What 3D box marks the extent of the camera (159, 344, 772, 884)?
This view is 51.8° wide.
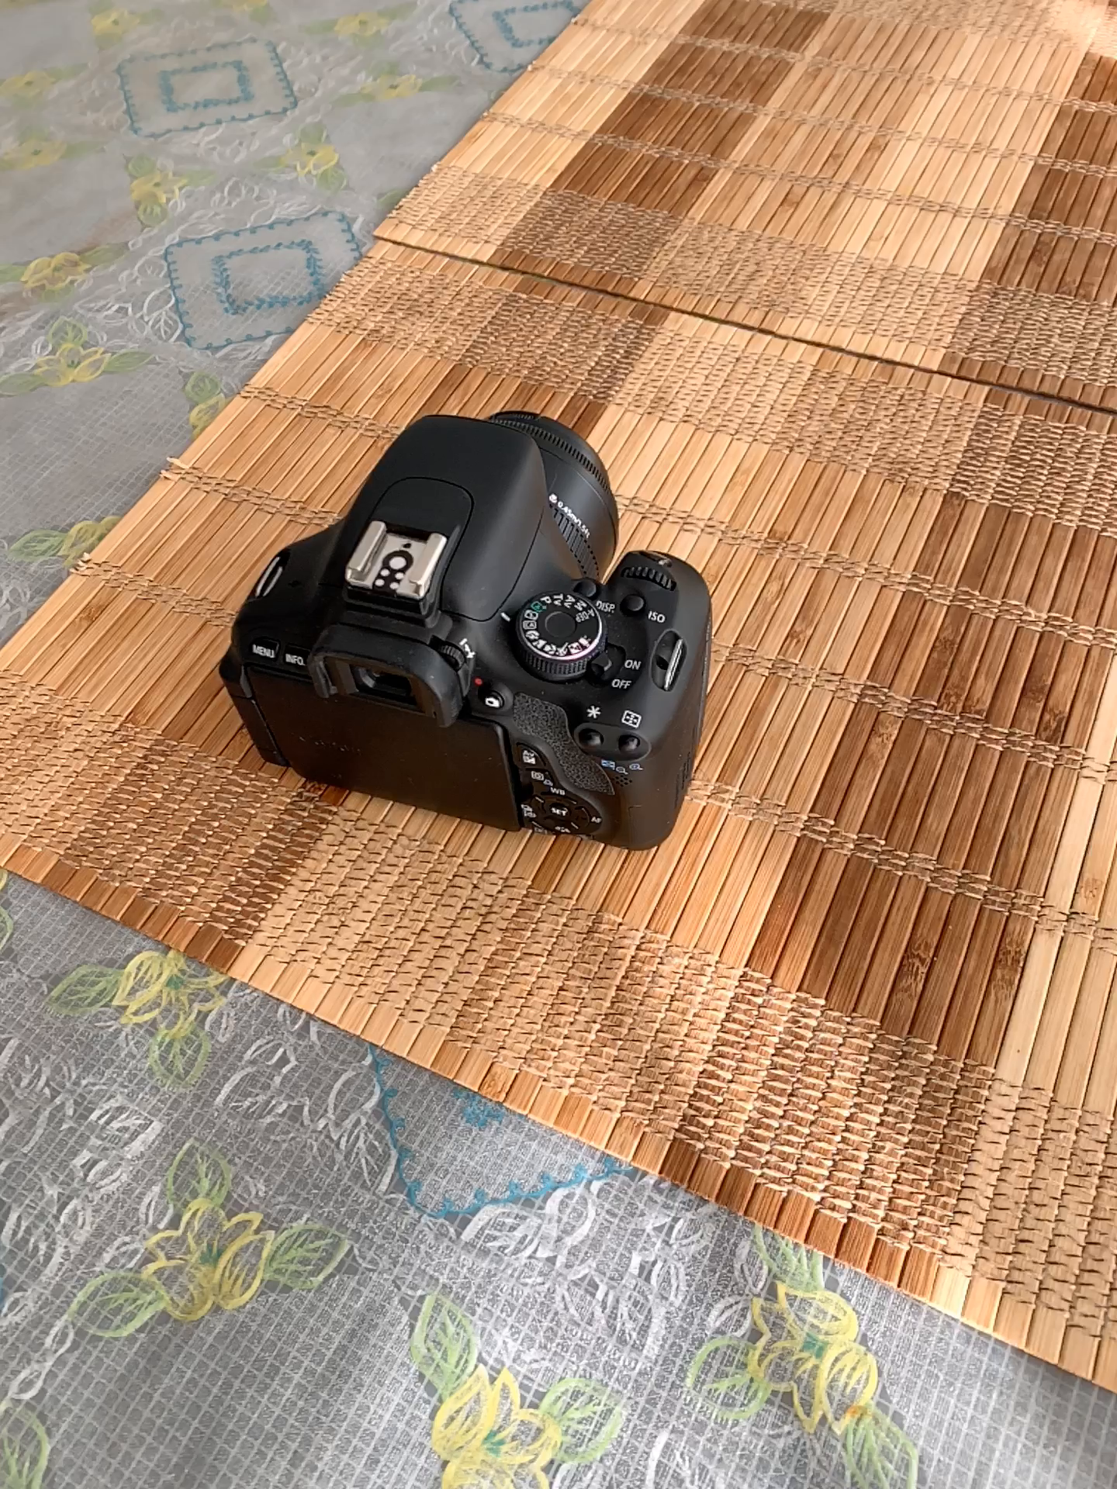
[{"bbox_3d":[-0.019,-0.040,0.335,0.133,0.080,0.106,14,58,13],"label":"camera"}]
